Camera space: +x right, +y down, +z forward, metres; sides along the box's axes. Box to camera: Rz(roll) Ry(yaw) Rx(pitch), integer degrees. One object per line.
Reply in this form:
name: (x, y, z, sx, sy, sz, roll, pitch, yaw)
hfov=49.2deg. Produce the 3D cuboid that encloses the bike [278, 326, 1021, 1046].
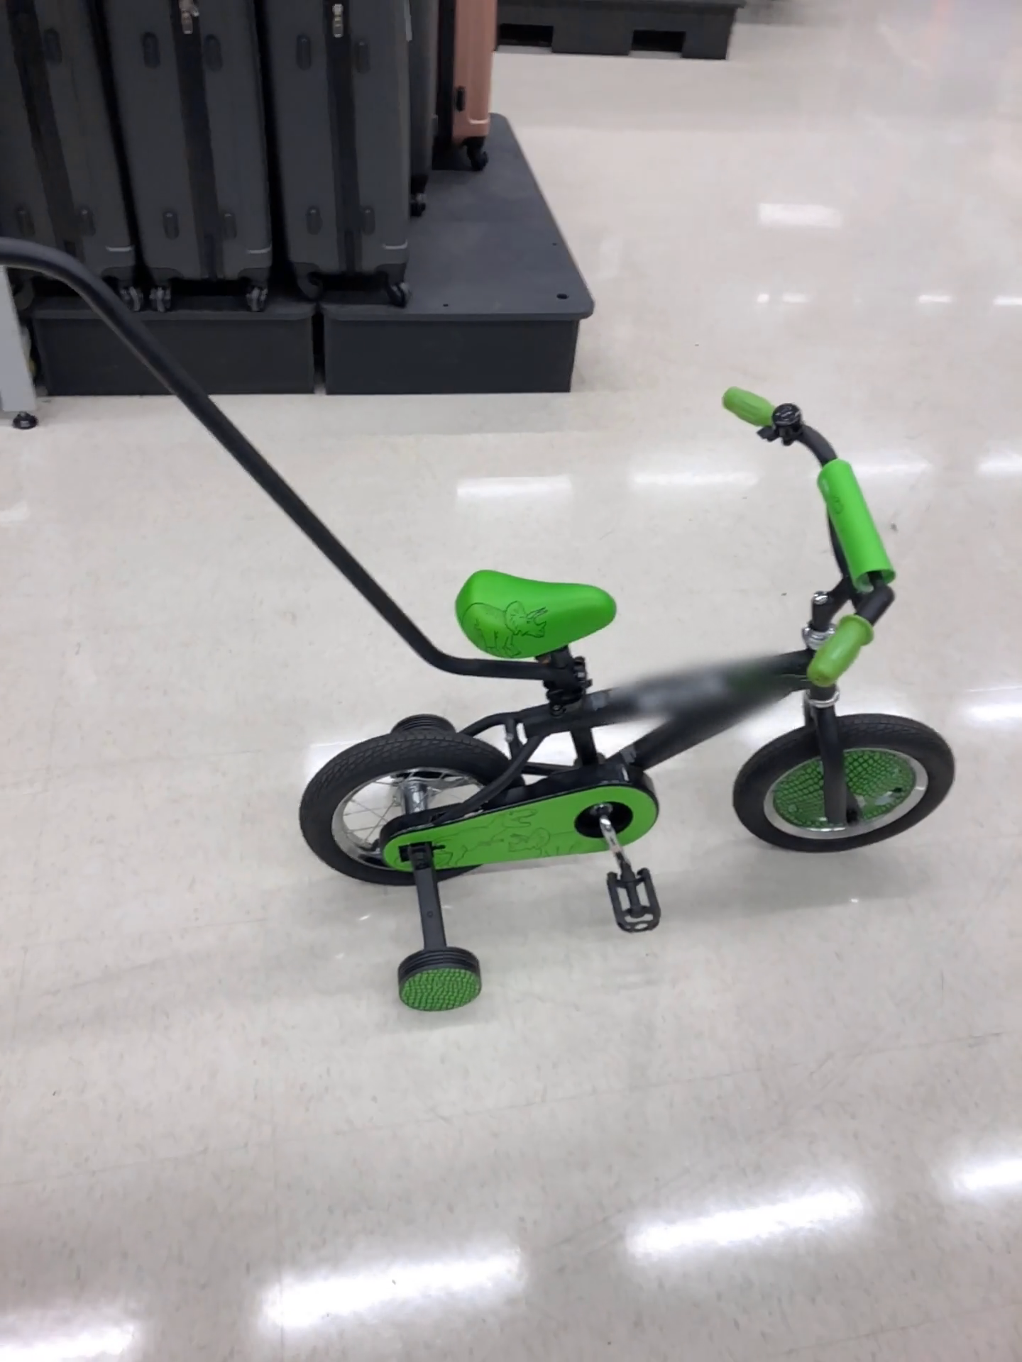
bike: (0.175, 0.007, 1.328, 0.846, 0.599, 0.493, -4, 45, -6)
